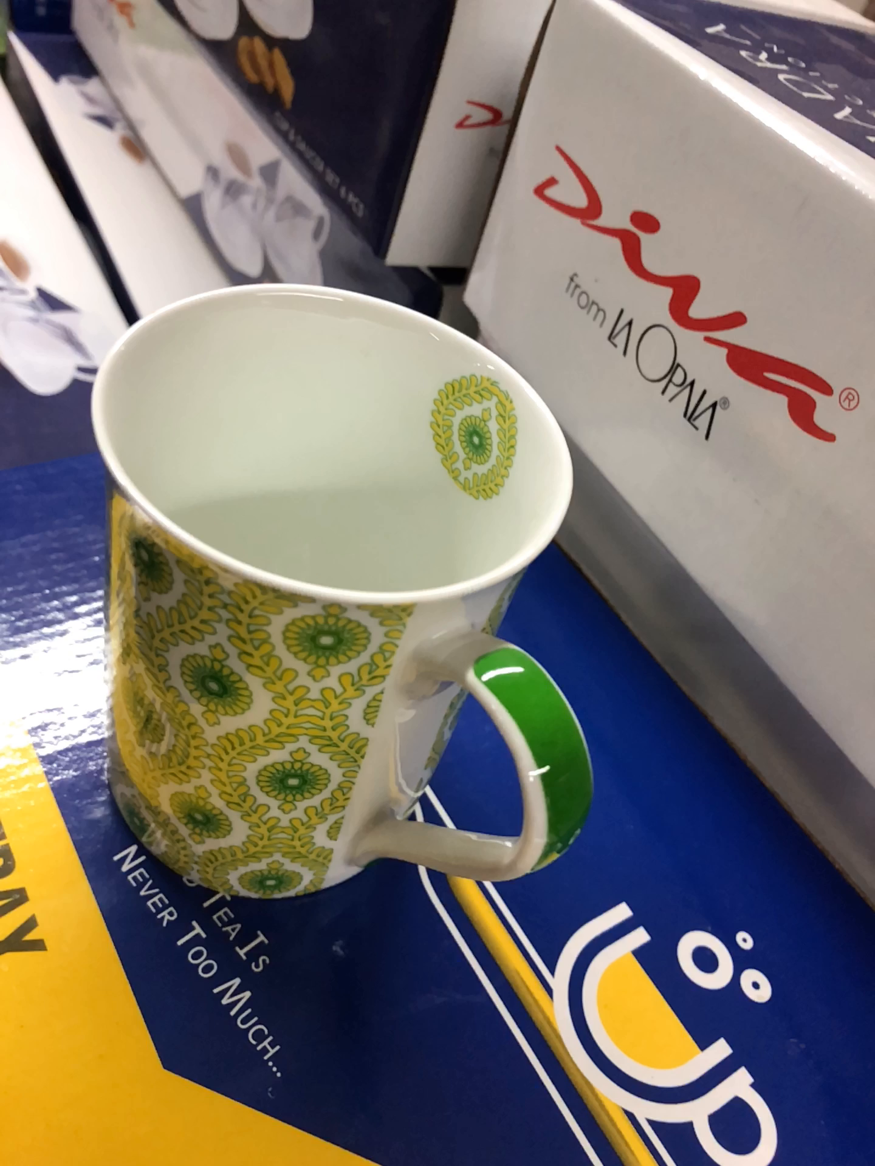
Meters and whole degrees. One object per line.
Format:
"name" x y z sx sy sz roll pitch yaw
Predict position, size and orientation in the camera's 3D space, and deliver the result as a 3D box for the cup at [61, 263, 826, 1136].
"cup" -0.014 0.014 0.168 0.070 0.089 0.100 -13 53 -29
